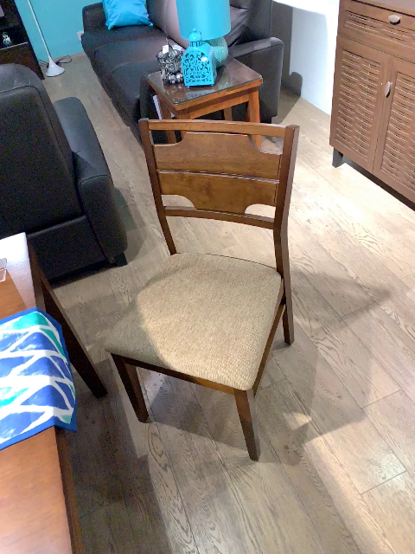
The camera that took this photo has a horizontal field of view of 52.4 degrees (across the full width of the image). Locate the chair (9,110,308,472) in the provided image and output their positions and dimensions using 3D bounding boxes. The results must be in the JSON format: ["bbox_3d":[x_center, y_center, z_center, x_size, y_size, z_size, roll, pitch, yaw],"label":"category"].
[{"bbox_3d":[-0.021,0.057,1.203,0.471,0.827,0.531,11,48,21],"label":"chair"}]
